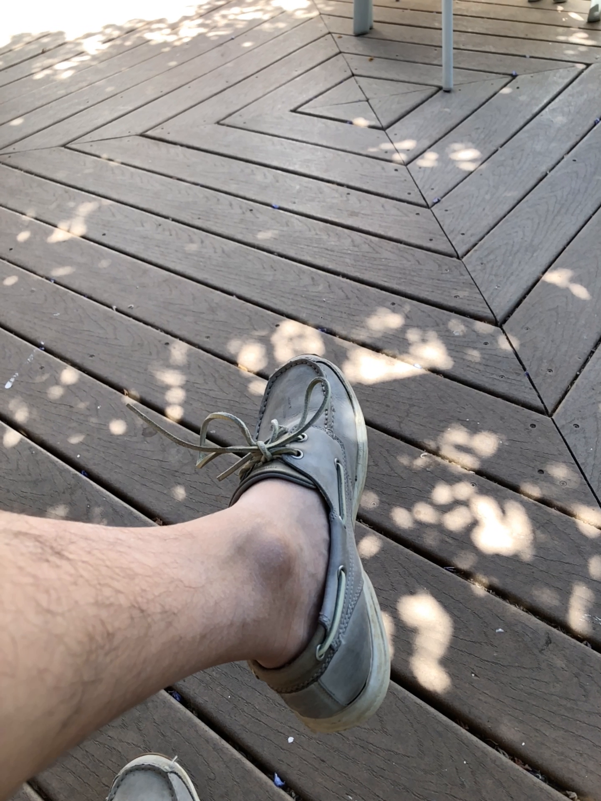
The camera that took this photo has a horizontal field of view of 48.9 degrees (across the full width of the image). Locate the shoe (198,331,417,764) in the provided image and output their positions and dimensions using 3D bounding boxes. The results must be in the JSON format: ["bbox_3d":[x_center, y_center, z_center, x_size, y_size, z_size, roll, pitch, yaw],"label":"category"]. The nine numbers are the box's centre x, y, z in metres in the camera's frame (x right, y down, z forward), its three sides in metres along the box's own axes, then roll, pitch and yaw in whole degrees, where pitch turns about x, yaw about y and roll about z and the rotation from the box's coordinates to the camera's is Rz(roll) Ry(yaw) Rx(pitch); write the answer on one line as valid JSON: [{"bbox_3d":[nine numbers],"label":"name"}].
[{"bbox_3d":[0.004,0.101,0.548,0.110,0.092,0.324,-32,37,28],"label":"shoe"}]
